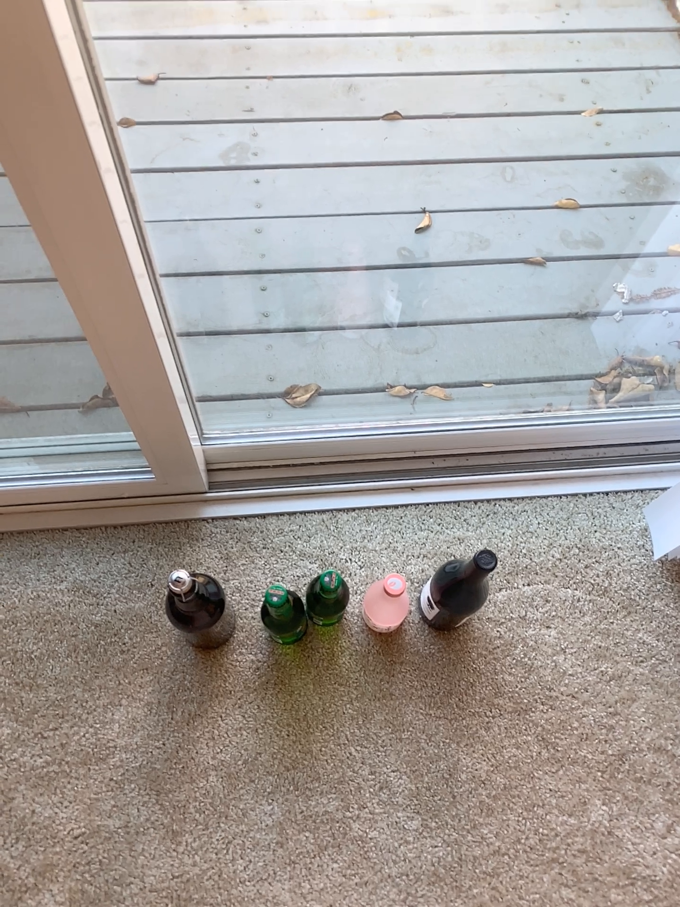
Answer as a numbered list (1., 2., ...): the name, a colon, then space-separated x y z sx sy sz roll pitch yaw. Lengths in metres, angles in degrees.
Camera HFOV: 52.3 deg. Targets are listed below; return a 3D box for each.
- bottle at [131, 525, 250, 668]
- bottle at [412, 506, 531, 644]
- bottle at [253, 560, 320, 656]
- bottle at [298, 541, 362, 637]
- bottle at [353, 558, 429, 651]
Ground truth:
1. bottle: -0.185 0.197 0.906 0.090 0.280 0.100 -18 68 -11
2. bottle: 0.172 0.175 0.951 0.090 0.250 0.110 14 66 3
3. bottle: -0.072 0.216 0.950 0.070 0.190 0.080 -10 67 -8
4. bottle: -0.019 0.192 0.962 0.070 0.190 0.080 -7 66 -7
5. bottle: 0.068 0.214 0.963 0.070 0.170 0.080 14 66 3
